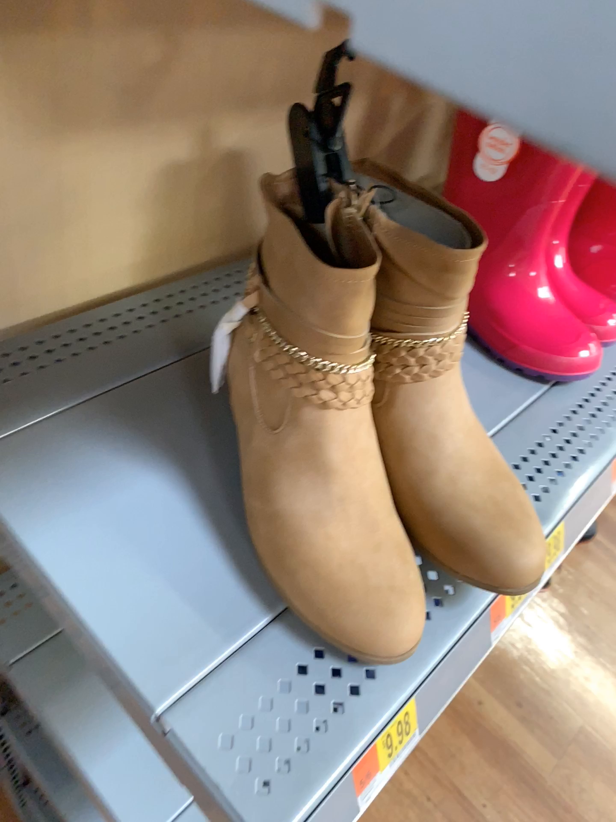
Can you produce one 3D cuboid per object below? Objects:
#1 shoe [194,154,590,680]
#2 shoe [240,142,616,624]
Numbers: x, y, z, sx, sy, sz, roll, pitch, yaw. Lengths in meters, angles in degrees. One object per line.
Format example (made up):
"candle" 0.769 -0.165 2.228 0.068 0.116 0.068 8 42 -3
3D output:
"shoe" 0.011 -0.006 0.339 0.088 0.161 0.218 -5 47 -22
"shoe" 0.057 -0.029 0.376 0.083 0.154 0.238 -13 51 -29
